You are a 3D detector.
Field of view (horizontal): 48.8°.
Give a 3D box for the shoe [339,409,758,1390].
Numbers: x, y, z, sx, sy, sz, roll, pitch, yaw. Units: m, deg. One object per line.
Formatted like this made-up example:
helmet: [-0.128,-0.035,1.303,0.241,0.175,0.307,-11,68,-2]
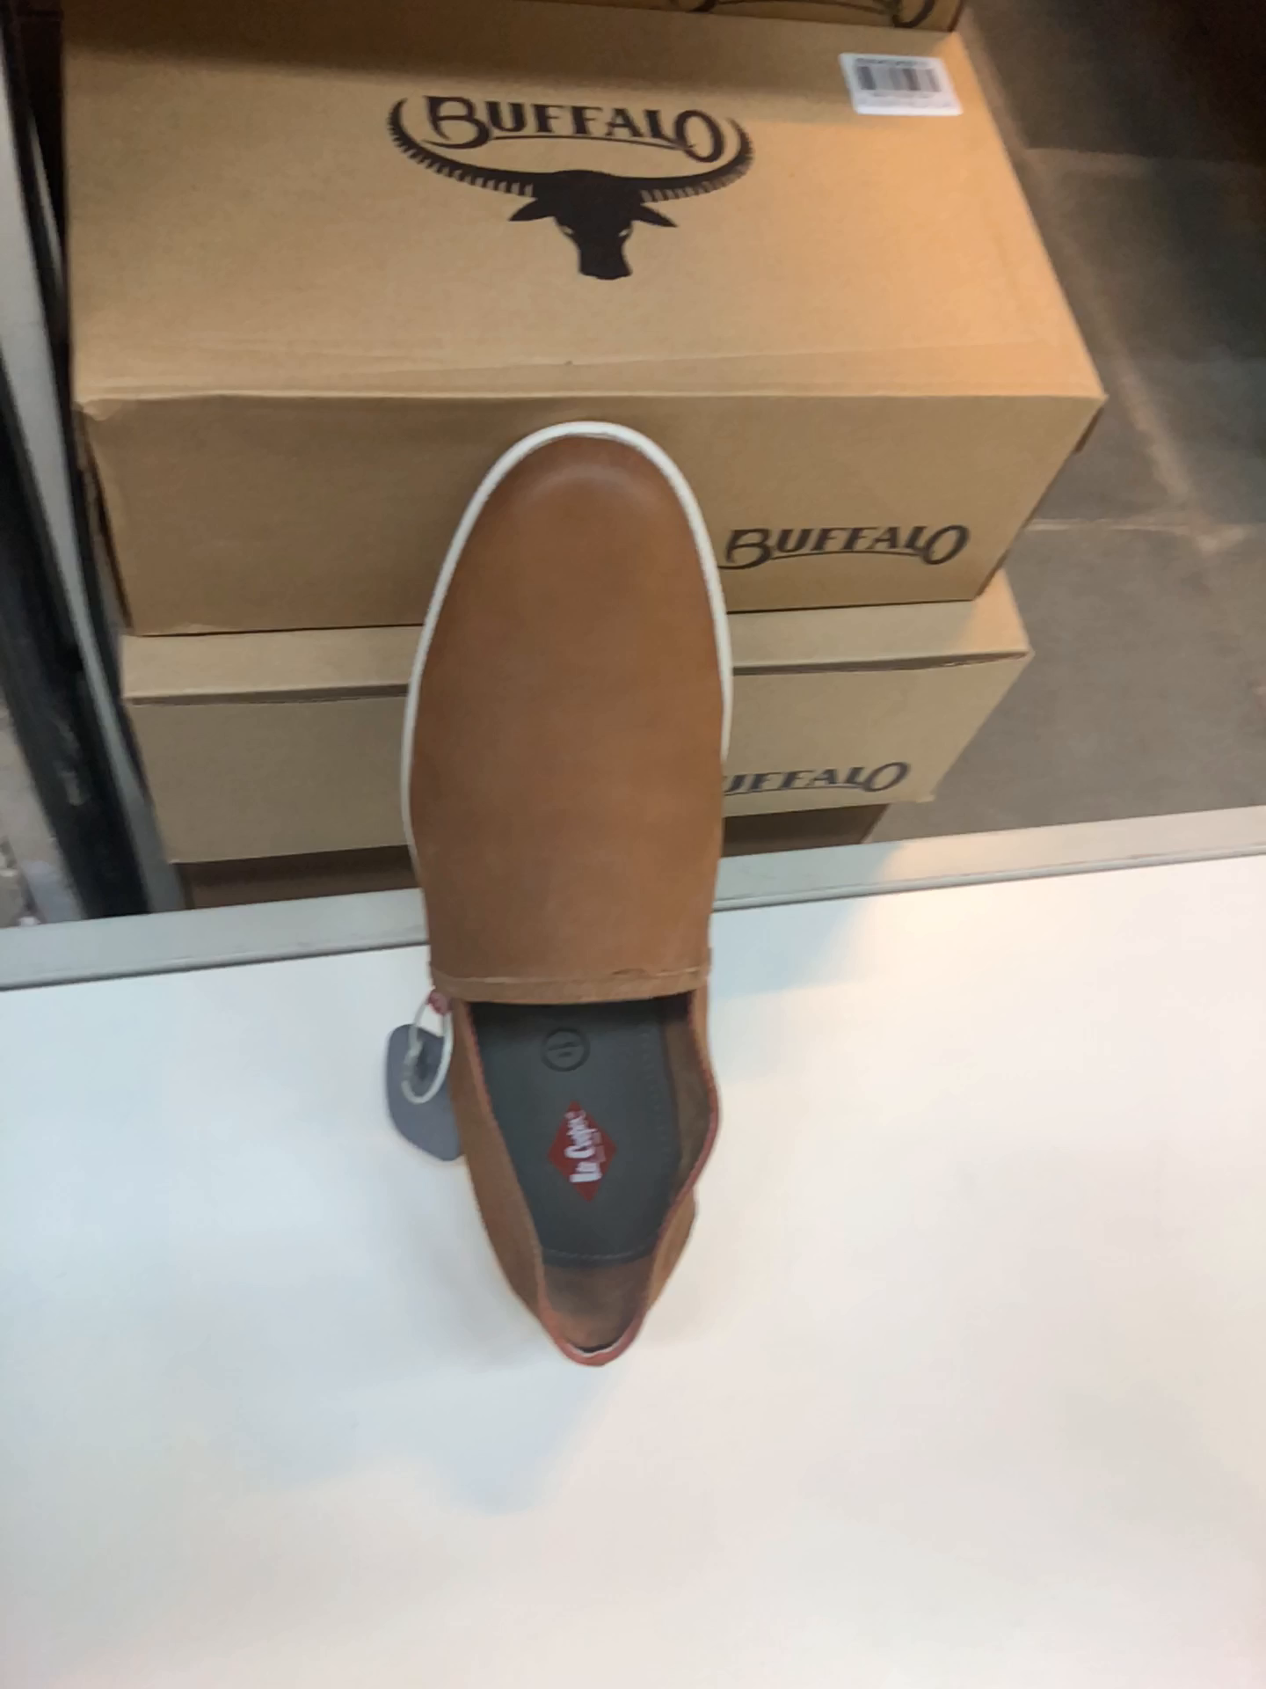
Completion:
shoe: [-0.032,0.010,0.495,0.113,0.310,0.149,-1,18,-6]
